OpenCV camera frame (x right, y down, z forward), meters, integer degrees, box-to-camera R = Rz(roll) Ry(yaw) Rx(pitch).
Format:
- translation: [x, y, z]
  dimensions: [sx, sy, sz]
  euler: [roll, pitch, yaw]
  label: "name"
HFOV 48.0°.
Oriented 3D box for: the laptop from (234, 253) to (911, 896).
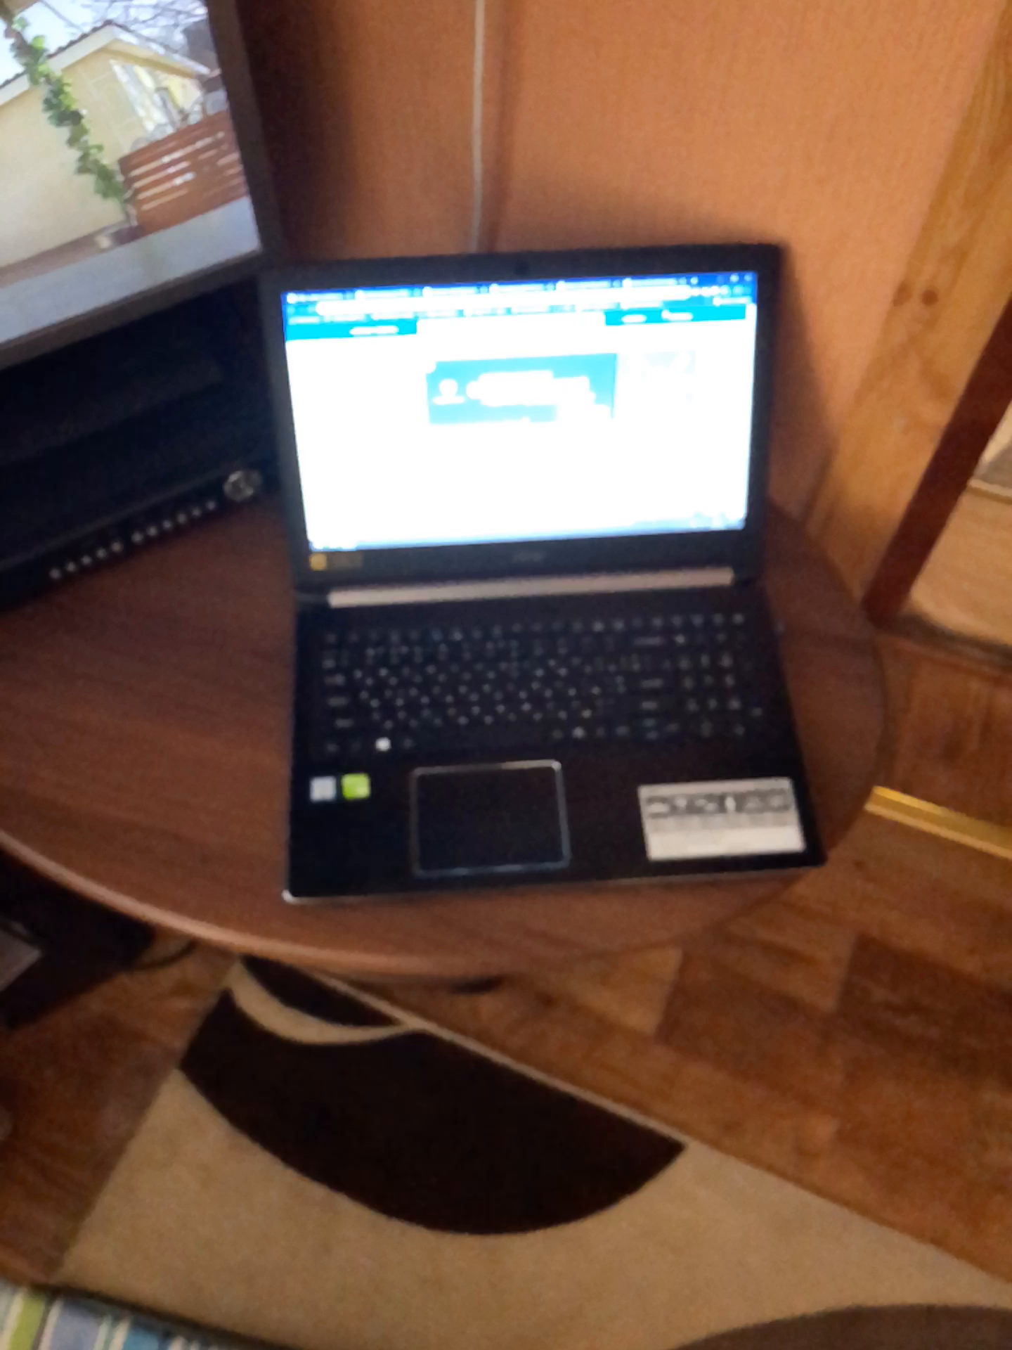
- translation: [0.024, -0.079, 0.796]
  dimensions: [0.372, 0.186, 0.391]
  euler: [-4, 60, -3]
  label: "laptop"
